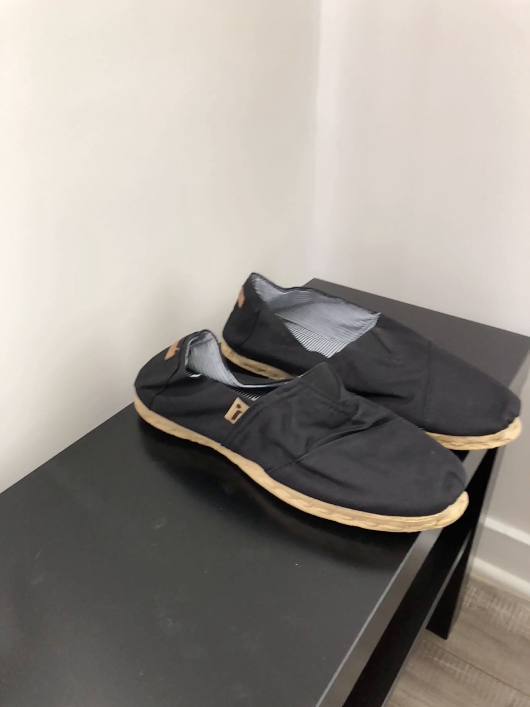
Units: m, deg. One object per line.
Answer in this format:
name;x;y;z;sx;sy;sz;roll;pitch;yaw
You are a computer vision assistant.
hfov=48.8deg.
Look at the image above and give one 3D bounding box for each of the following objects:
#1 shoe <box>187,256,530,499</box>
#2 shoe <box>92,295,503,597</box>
shoe;0.075;0.004;0.488;0.275;0.080;0.101;20;38;29
shoe;0.012;0.047;0.429;0.275;0.080;0.101;20;38;29
